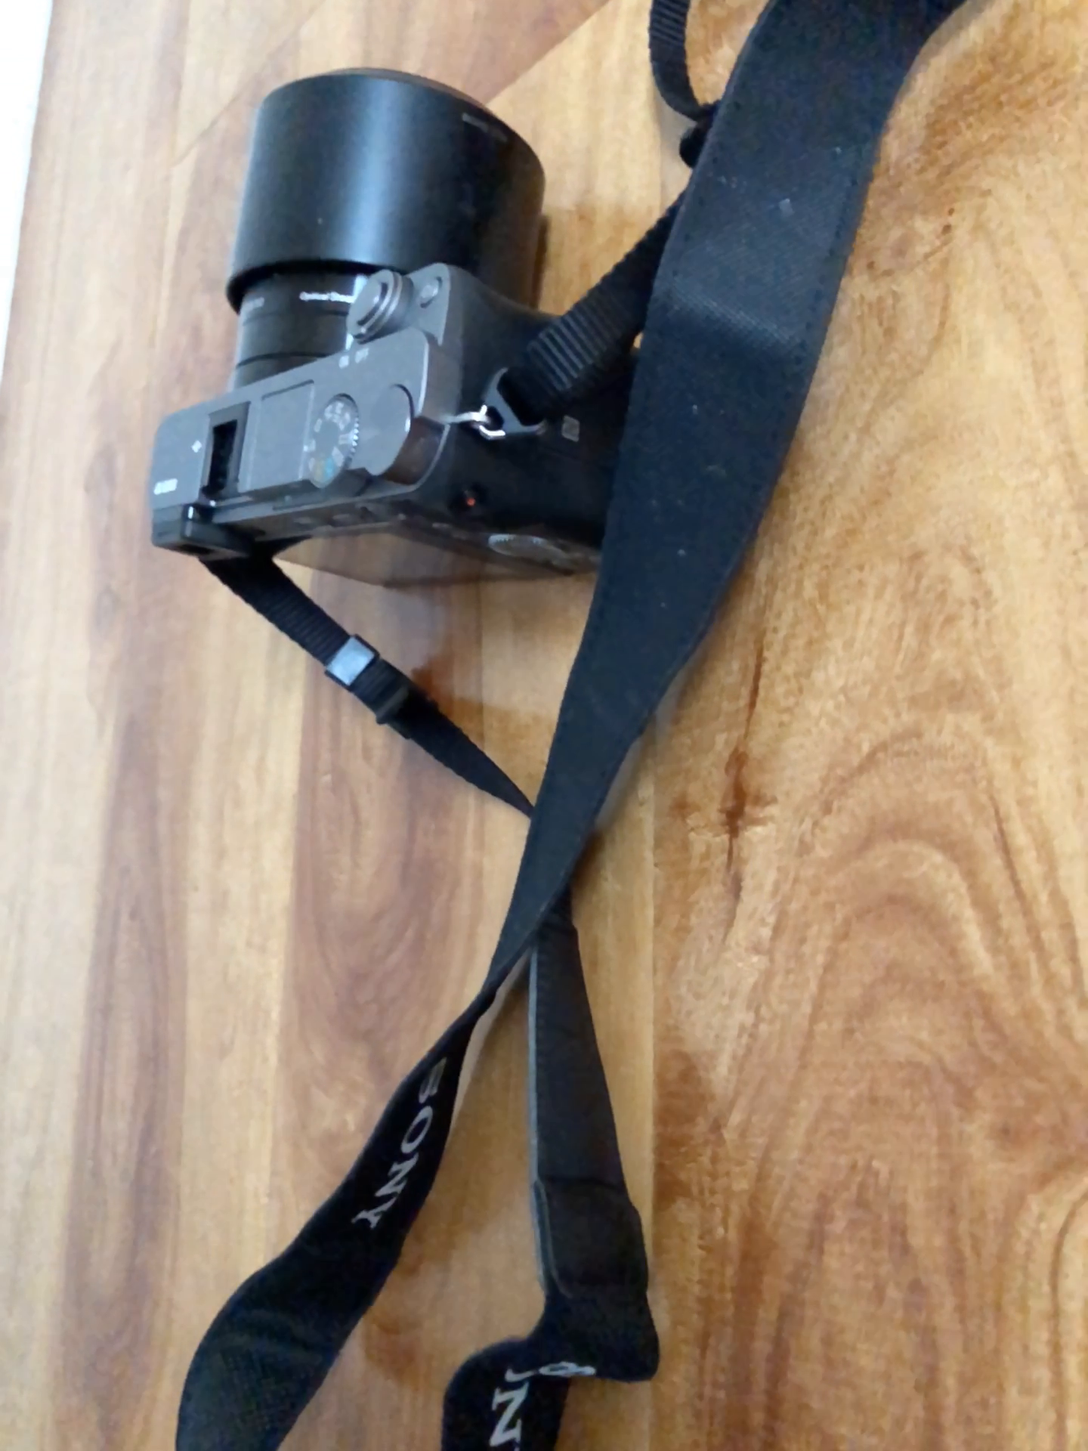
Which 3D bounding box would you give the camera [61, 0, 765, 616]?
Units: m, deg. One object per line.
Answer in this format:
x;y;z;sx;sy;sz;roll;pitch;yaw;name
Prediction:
-0.038;-0.088;0.277;0.141;0.080;0.110;5;85;51;camera
